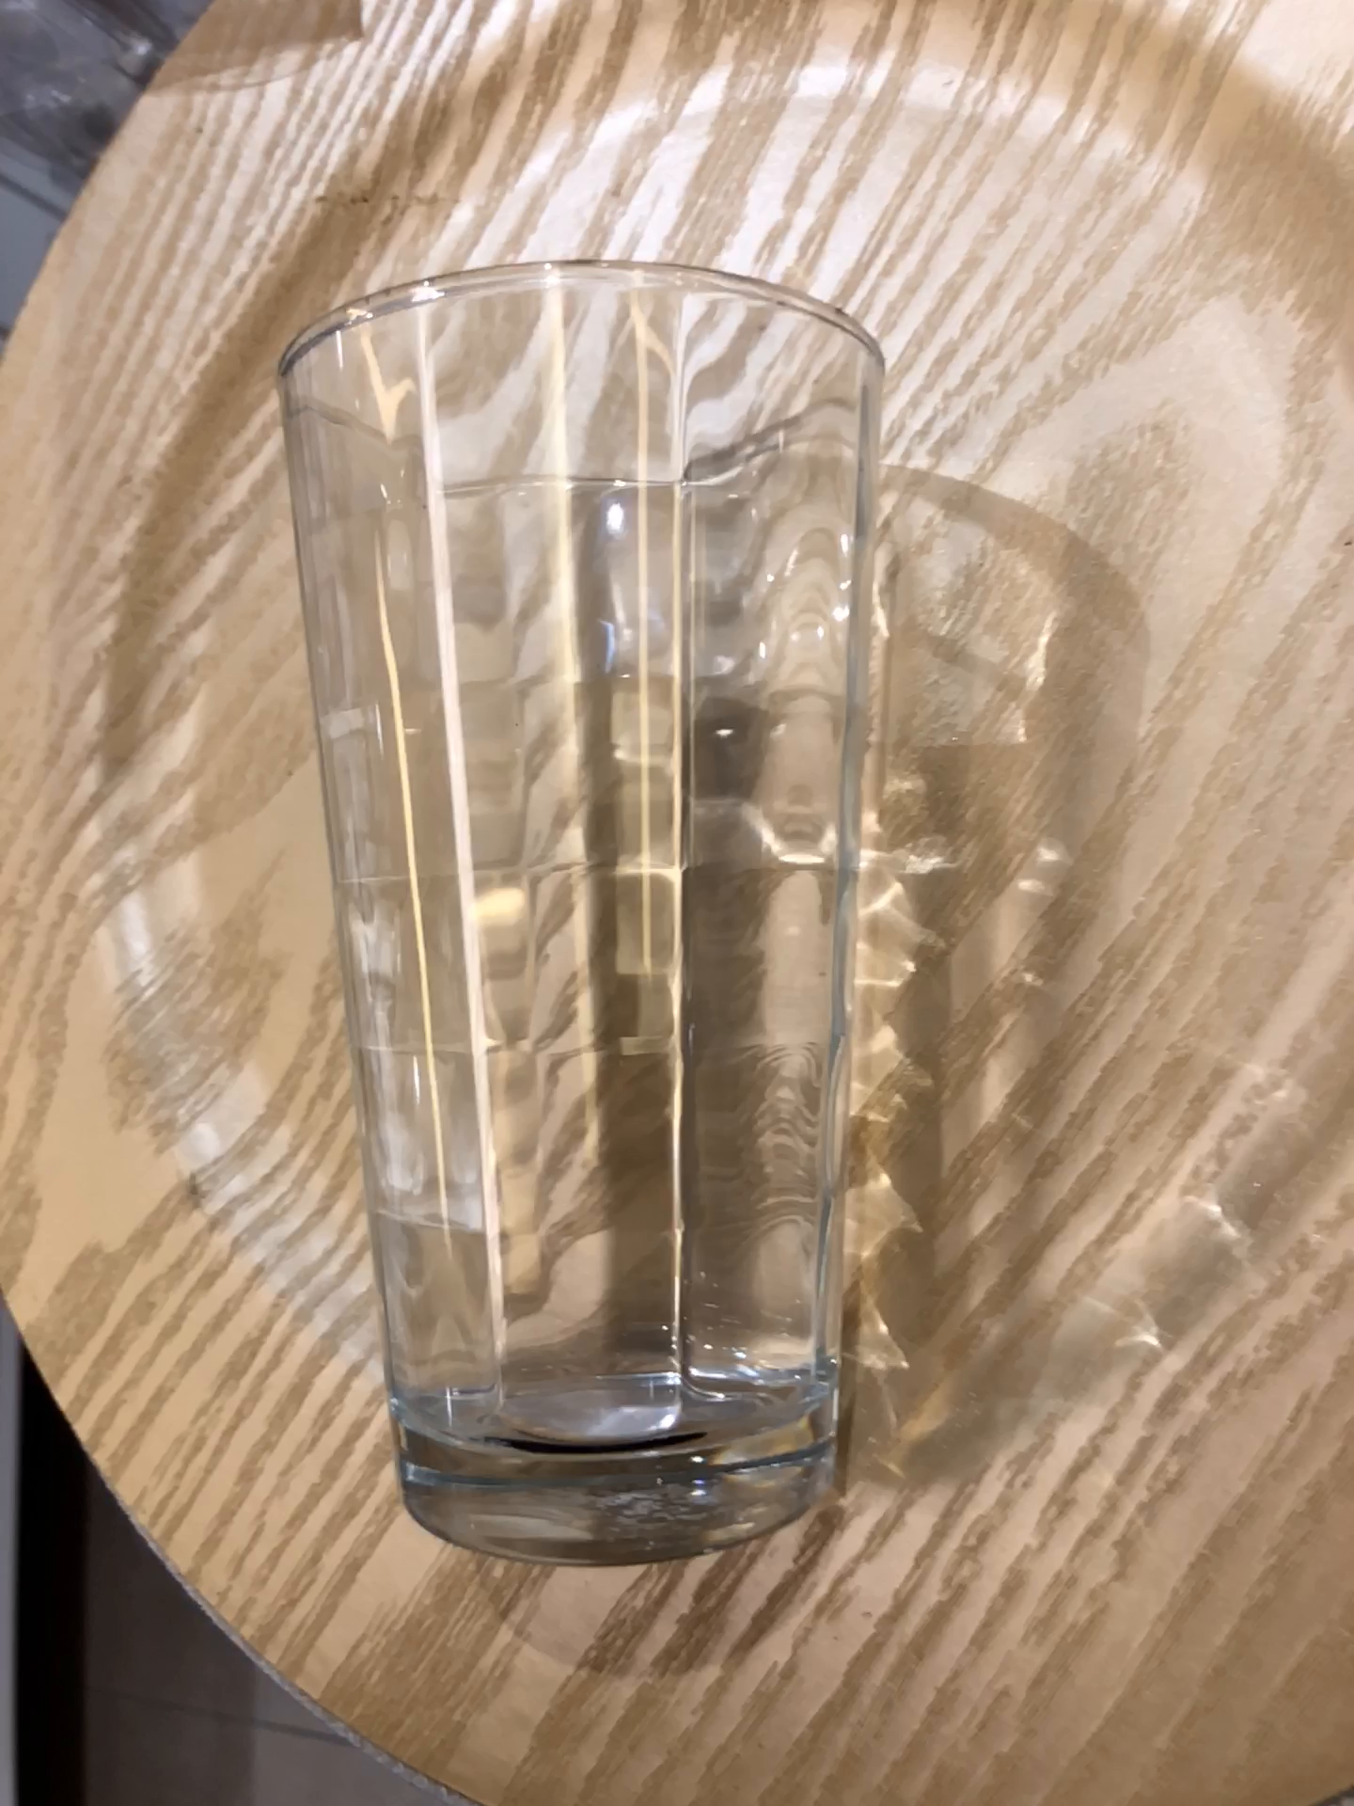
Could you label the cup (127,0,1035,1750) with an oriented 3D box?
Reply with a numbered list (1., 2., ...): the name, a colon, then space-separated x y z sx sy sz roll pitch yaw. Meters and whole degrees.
1. cup: -0.009 -0.007 0.204 0.090 0.080 0.180 -2 86 28
